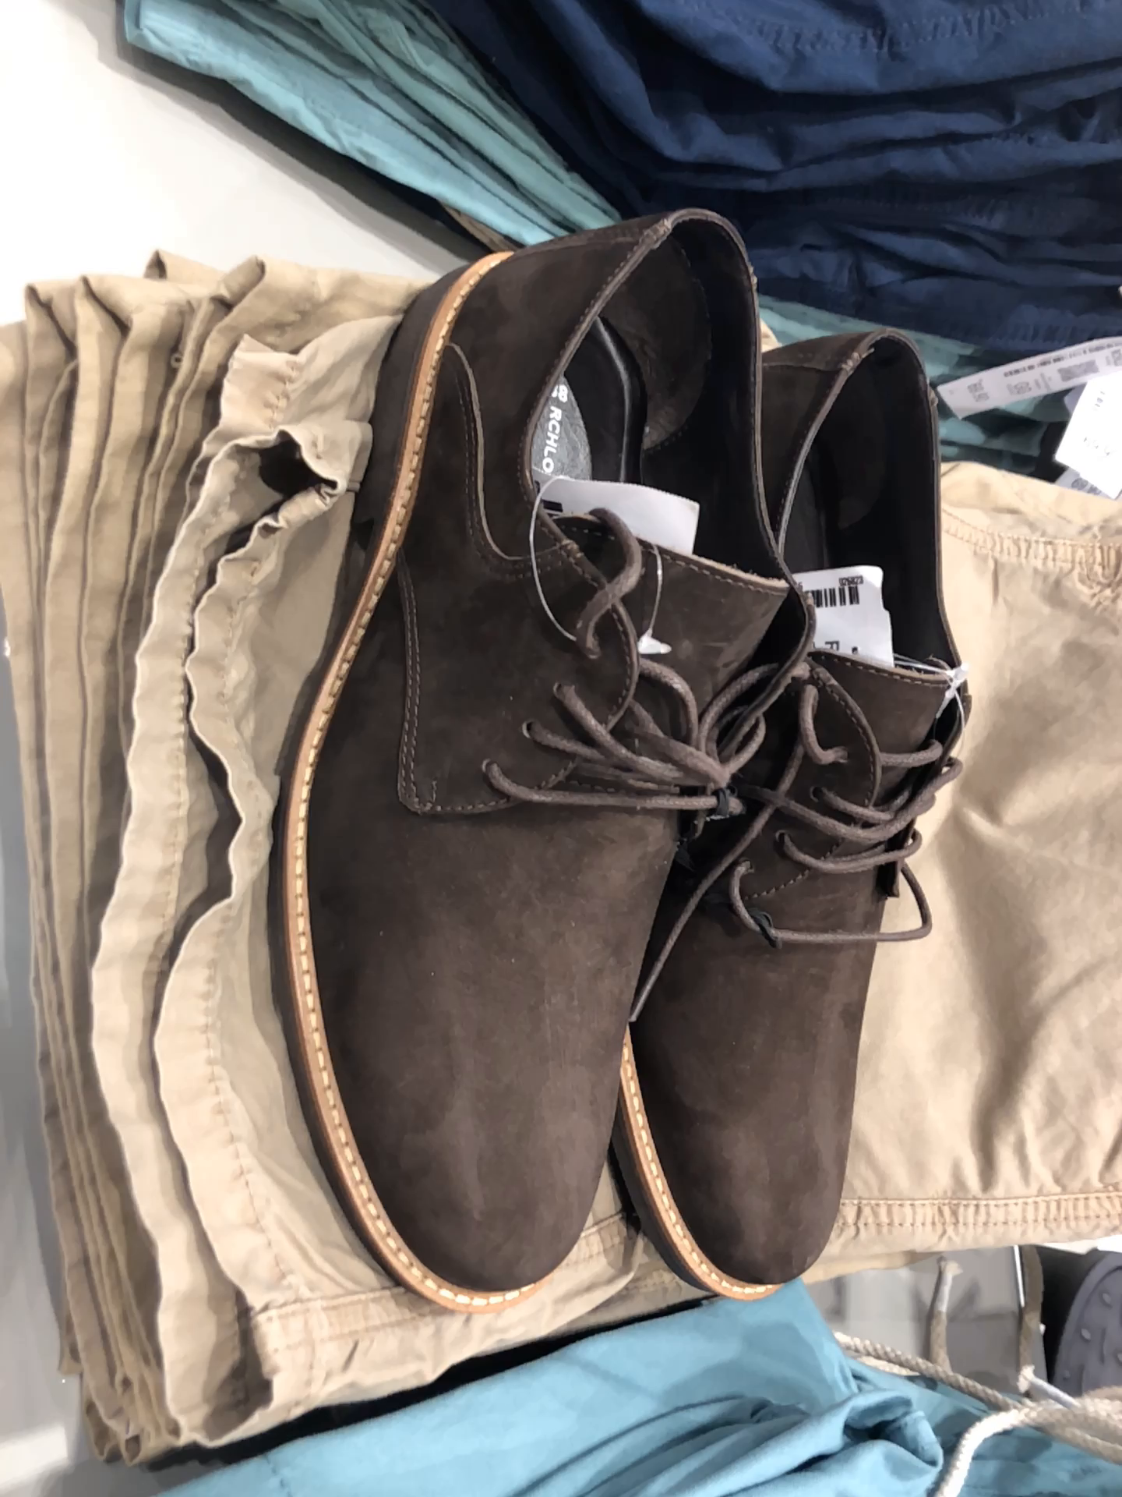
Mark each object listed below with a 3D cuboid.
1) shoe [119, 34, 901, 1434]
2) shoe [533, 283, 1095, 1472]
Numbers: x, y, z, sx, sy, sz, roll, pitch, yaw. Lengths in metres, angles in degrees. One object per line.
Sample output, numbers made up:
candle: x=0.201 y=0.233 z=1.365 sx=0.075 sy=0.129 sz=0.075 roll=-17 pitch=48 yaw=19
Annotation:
shoe: x=-0.011 y=-0.001 z=0.302 sx=0.111 sy=0.109 sz=0.260 roll=14 pitch=81 yaw=-35
shoe: x=0.066 y=0.029 z=0.346 sx=0.101 sy=0.109 sz=0.260 roll=5 pitch=83 yaw=-32
